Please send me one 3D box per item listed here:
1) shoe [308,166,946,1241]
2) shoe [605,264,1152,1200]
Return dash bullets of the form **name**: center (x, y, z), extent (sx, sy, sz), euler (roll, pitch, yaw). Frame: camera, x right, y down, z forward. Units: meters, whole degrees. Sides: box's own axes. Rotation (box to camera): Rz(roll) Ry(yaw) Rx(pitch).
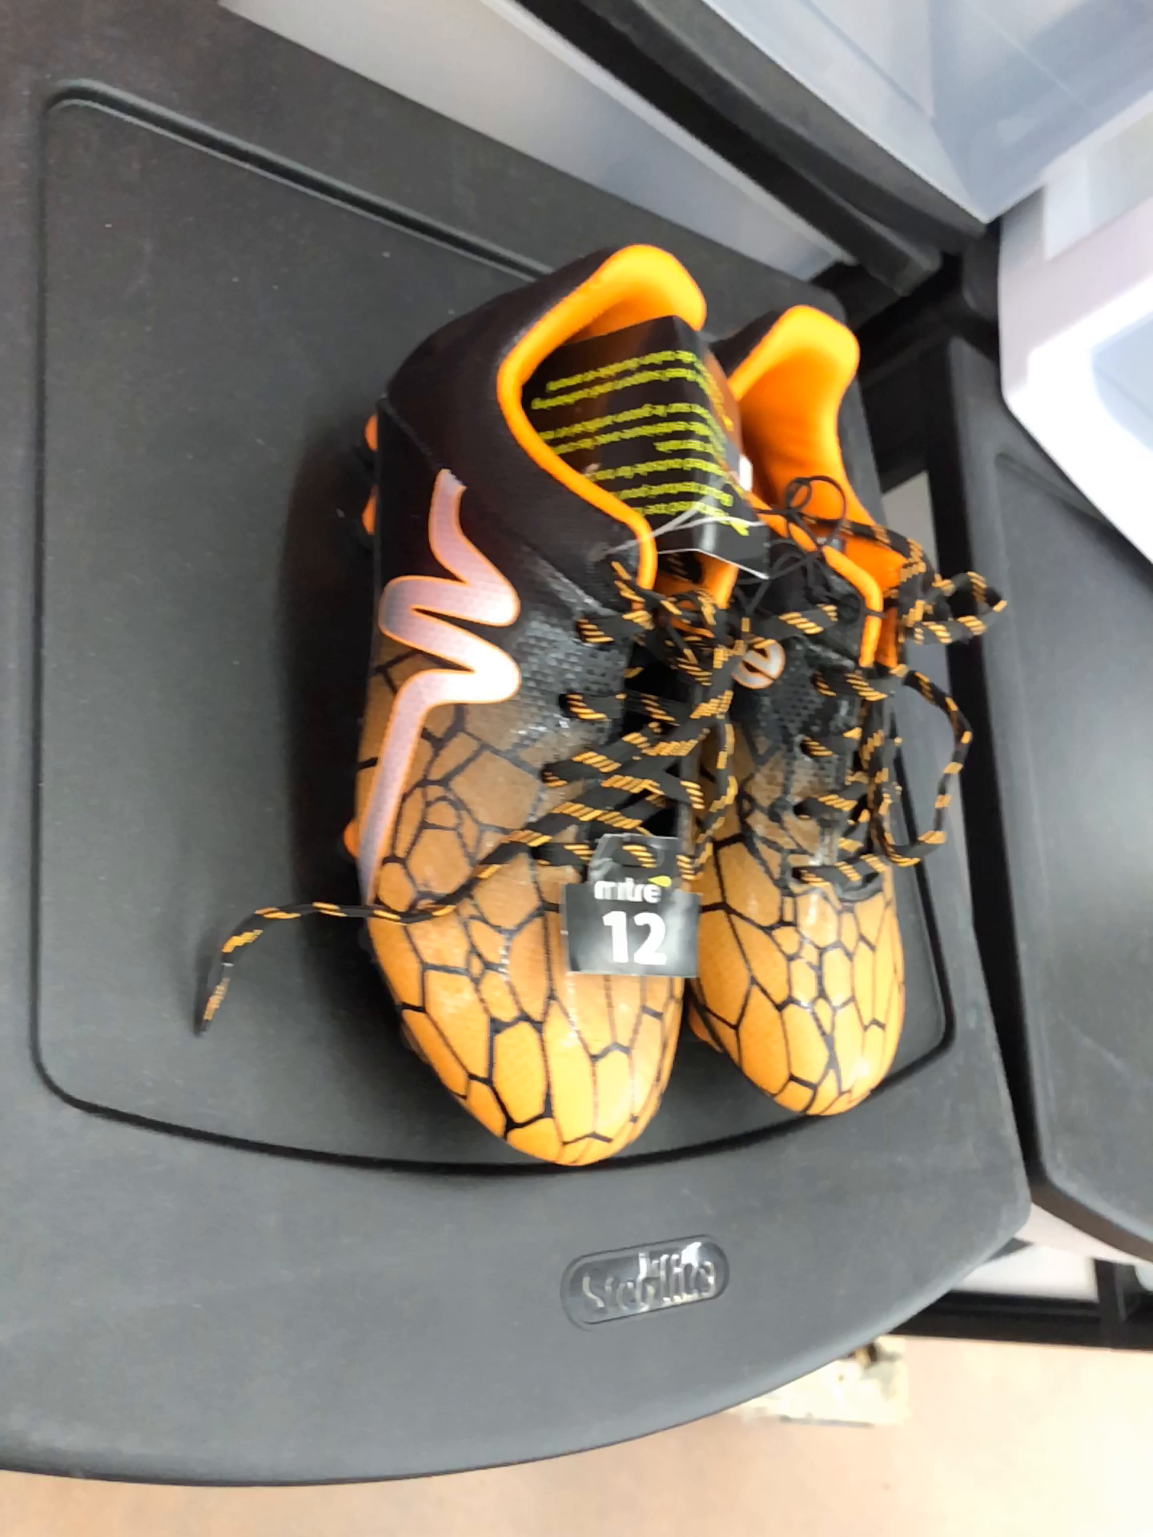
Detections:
- **shoe**: center (0.003, -0.009, 0.283), extent (0.080, 0.080, 0.200), euler (4, 71, -38)
- **shoe**: center (0.075, -0.006, 0.317), extent (0.080, 0.070, 0.200), euler (3, 72, -39)
